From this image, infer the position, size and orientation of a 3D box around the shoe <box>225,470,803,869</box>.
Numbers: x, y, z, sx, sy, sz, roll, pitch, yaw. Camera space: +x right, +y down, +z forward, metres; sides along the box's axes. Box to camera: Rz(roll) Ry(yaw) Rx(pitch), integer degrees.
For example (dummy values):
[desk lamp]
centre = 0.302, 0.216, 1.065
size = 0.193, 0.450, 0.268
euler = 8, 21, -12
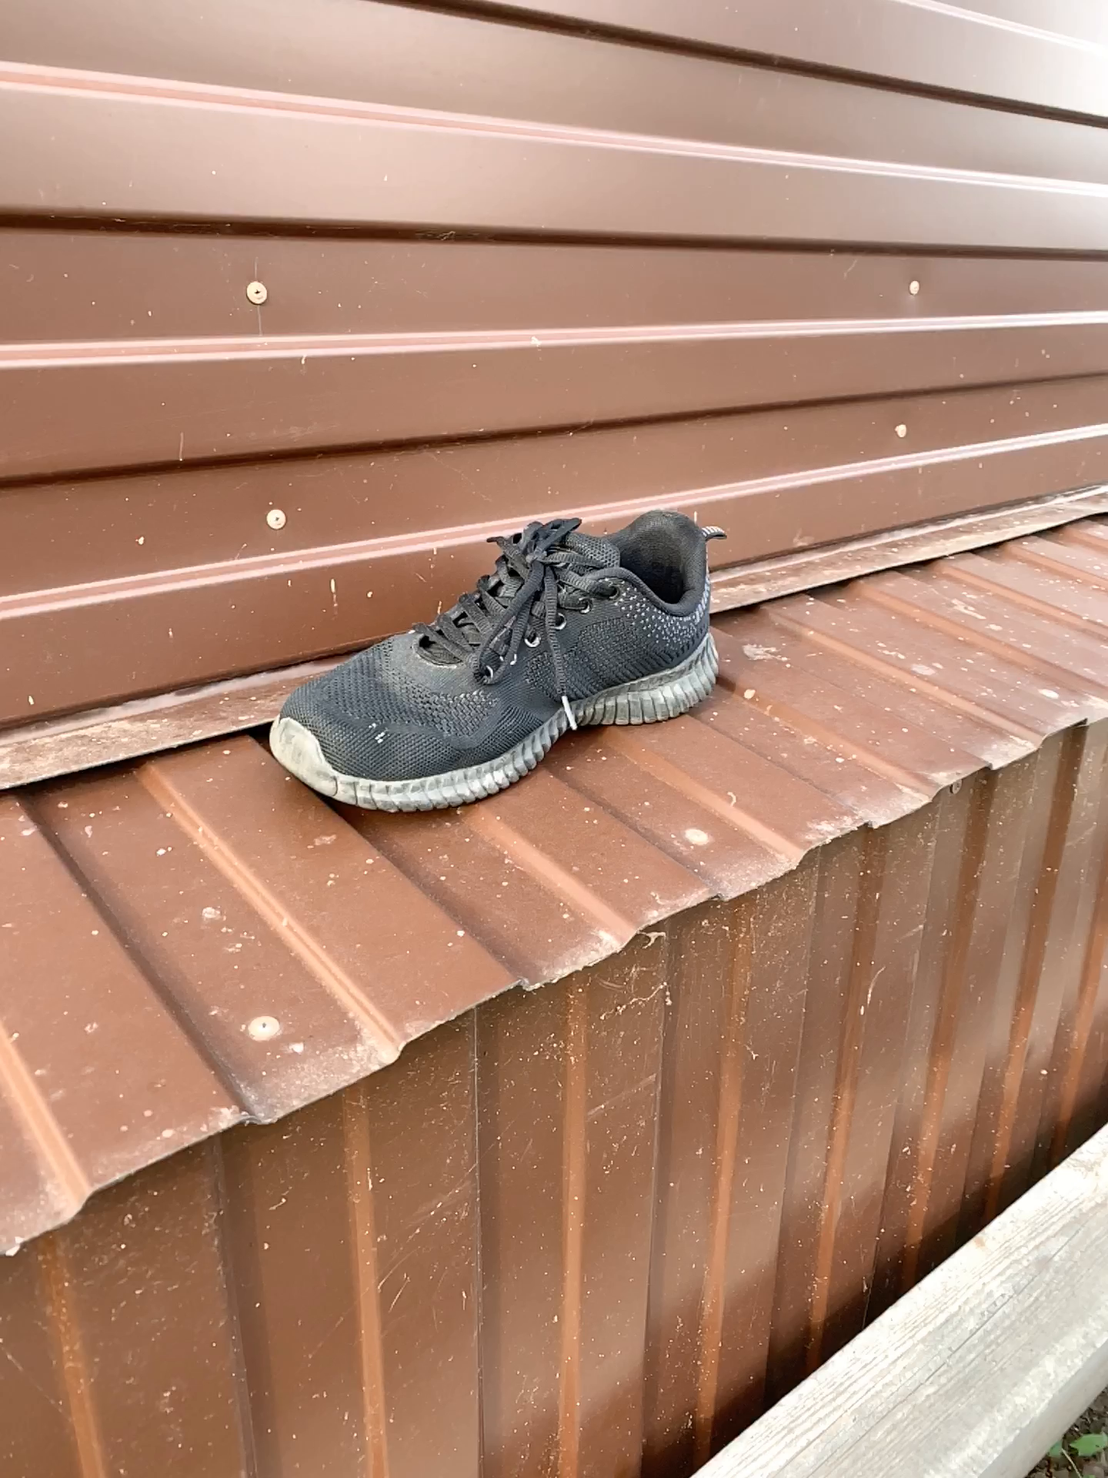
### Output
[shoe]
centre = -0.013, -0.057, 0.618
size = 0.301, 0.119, 0.121
euler = -19, 38, -41
